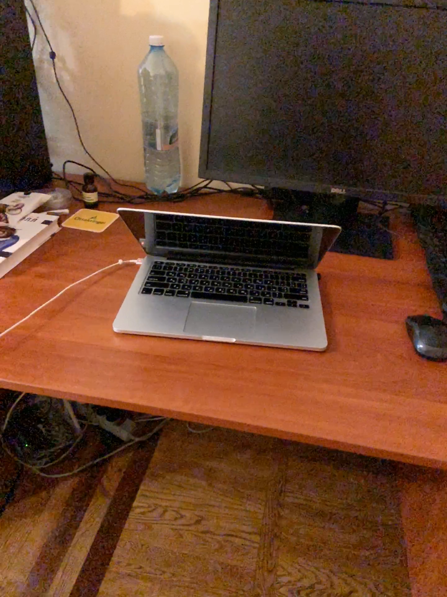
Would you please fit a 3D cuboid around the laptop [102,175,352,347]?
[{"bbox_3d":[0.007,-0.065,0.676,0.306,0.148,0.205,5,35,3],"label":"laptop"}]
